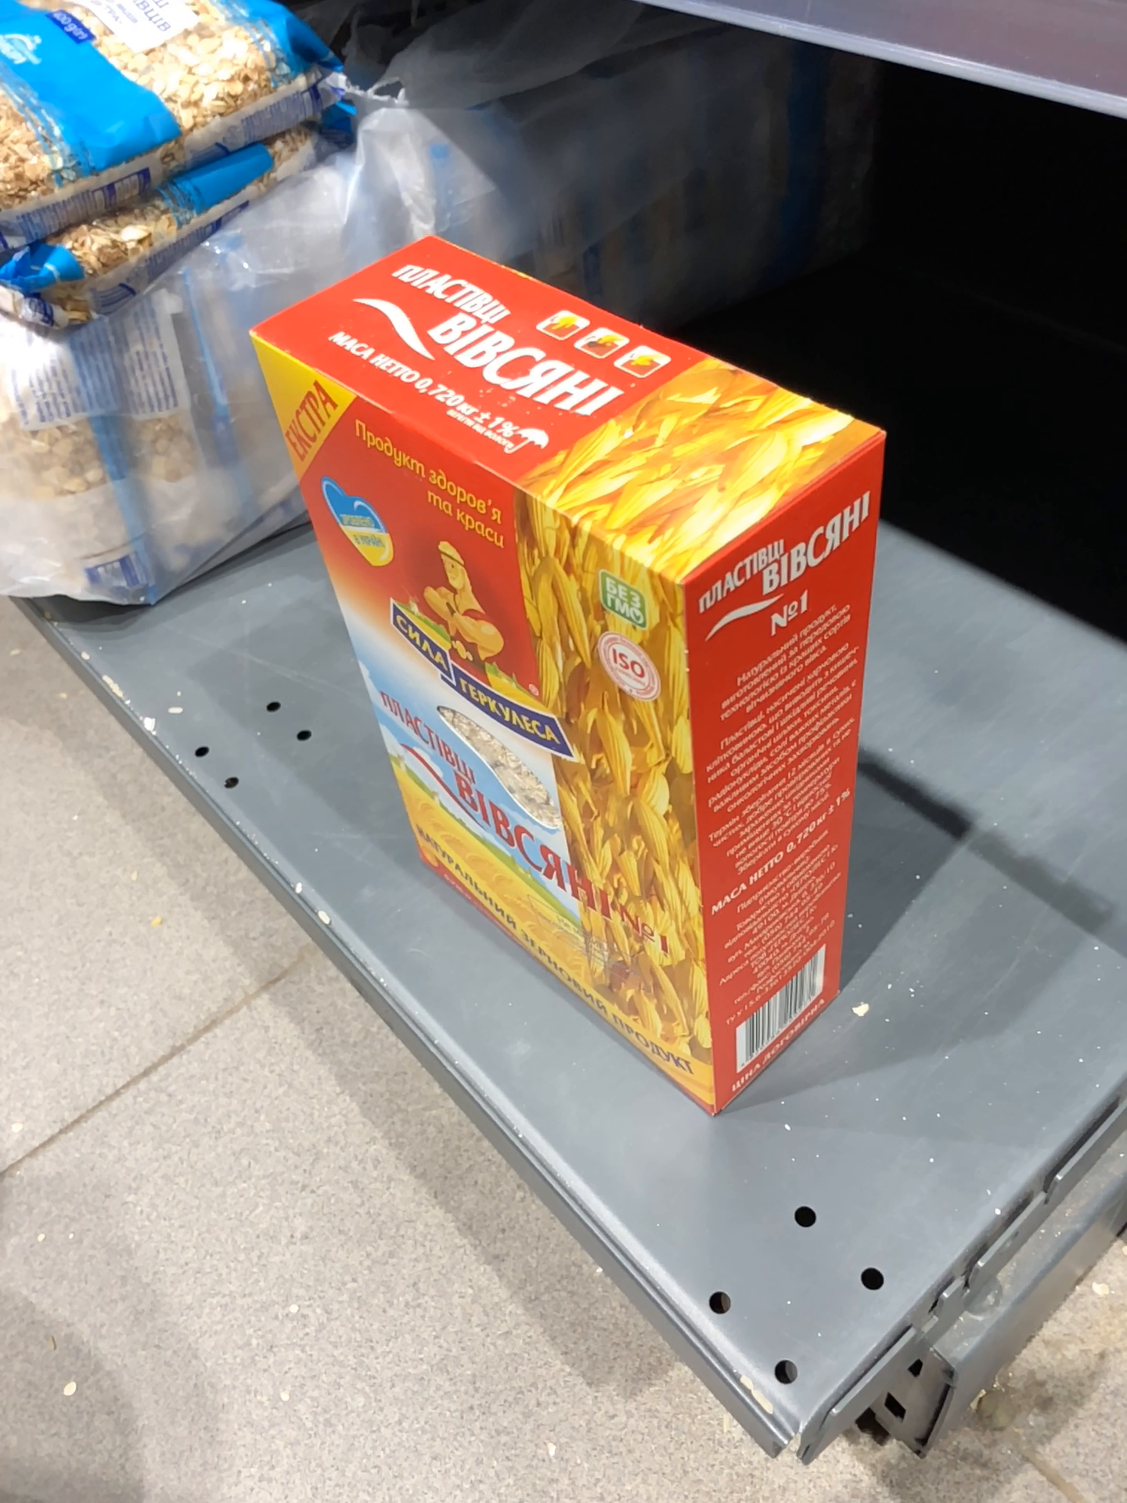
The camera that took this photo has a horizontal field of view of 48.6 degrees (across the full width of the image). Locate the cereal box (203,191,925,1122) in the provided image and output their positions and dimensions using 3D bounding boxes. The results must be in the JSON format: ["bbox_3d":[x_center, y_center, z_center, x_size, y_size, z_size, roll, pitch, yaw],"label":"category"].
[{"bbox_3d":[0.002,-0.021,0.351,0.070,0.208,0.161,-37,52,-24],"label":"cereal box"}]
